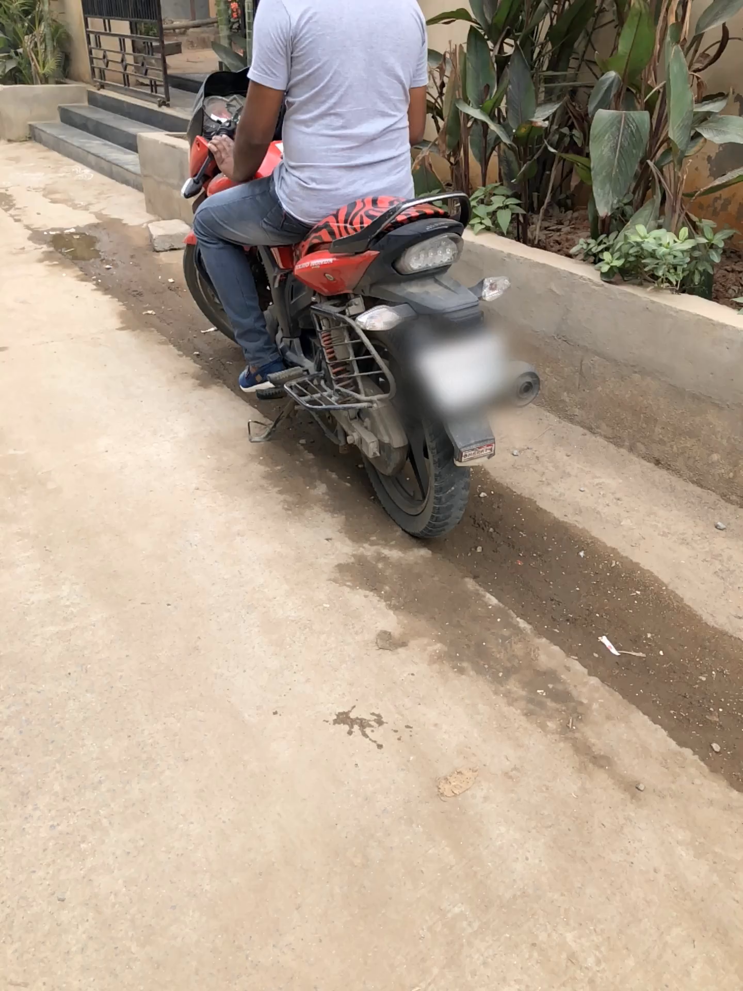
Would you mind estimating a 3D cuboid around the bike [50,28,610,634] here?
[{"bbox_3d":[-0.299,-0.670,2.471,0.691,1.207,1.793,-16,36,-26],"label":"bike"}]
